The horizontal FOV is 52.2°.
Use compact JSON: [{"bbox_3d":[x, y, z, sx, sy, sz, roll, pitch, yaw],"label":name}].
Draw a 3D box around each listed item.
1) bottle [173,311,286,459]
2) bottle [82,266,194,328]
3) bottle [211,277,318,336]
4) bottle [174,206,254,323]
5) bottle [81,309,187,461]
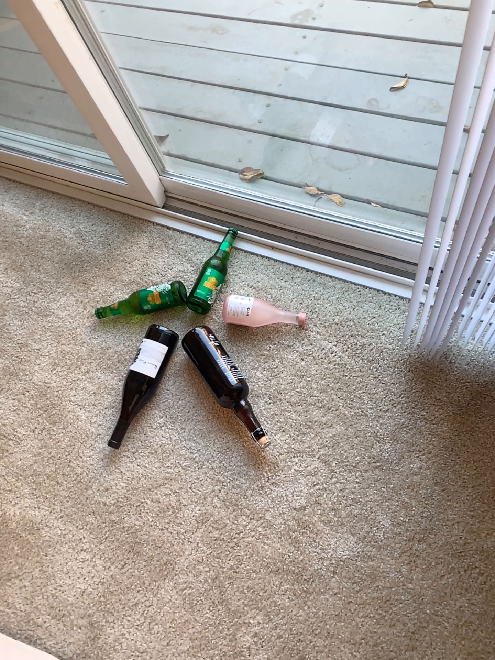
[{"bbox_3d":[-0.041,0.112,1.071,0.080,0.090,0.311,-33,62,-2],"label":"bottle"},{"bbox_3d":[-0.256,-0.076,1.192,0.240,0.090,0.070,-11,66,6],"label":"bottle"},{"bbox_3d":[0.040,-0.052,1.114,0.210,0.090,0.080,6,69,18],"label":"bottle"},{"bbox_3d":[-0.073,-0.154,1.190,0.080,0.090,0.250,16,74,19],"label":"bottle"},{"bbox_3d":[-0.240,0.116,1.107,0.080,0.090,0.310,15,69,19],"label":"bottle"}]
